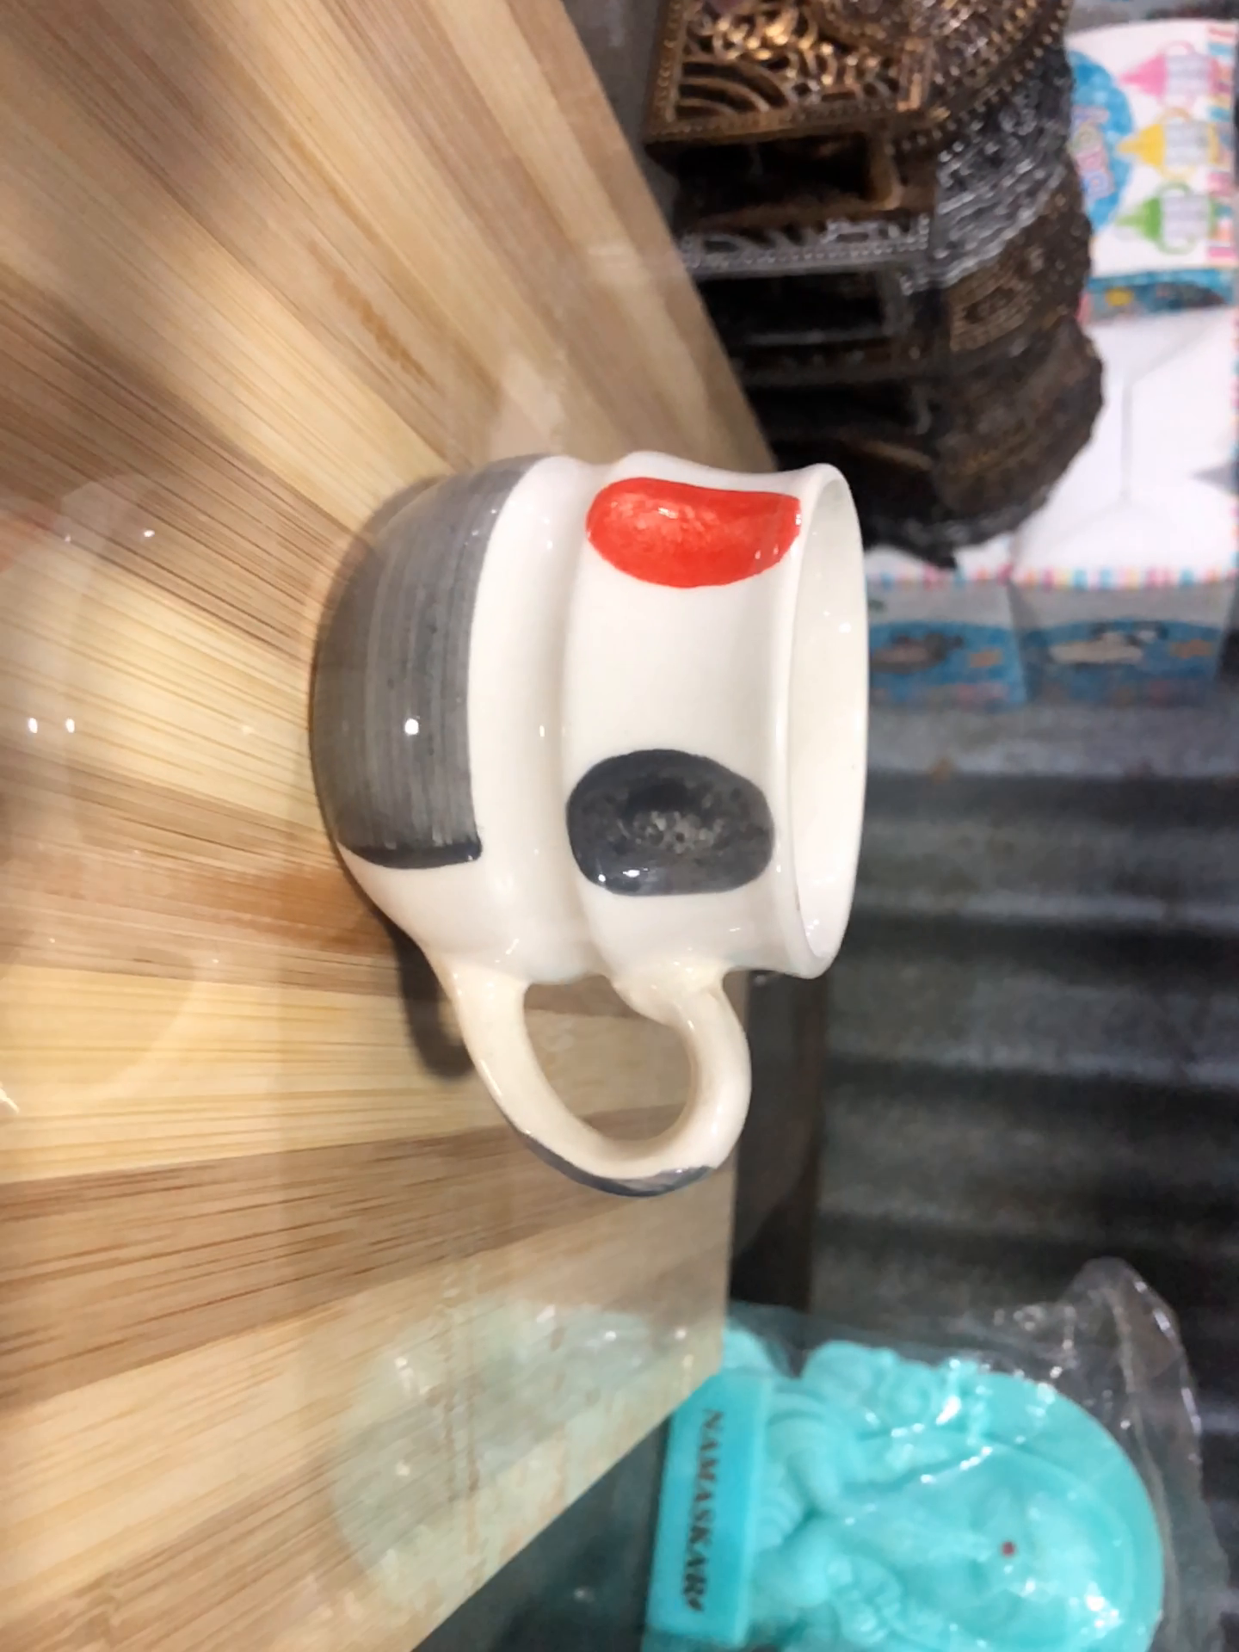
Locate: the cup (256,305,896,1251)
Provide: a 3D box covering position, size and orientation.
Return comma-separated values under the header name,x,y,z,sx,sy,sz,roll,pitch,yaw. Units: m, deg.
name,x,y,z,sx,sy,sz,roll,pitch,yaw
cup,-0.001,-0.007,0.170,0.060,0.060,0.090,-15,107,-73
